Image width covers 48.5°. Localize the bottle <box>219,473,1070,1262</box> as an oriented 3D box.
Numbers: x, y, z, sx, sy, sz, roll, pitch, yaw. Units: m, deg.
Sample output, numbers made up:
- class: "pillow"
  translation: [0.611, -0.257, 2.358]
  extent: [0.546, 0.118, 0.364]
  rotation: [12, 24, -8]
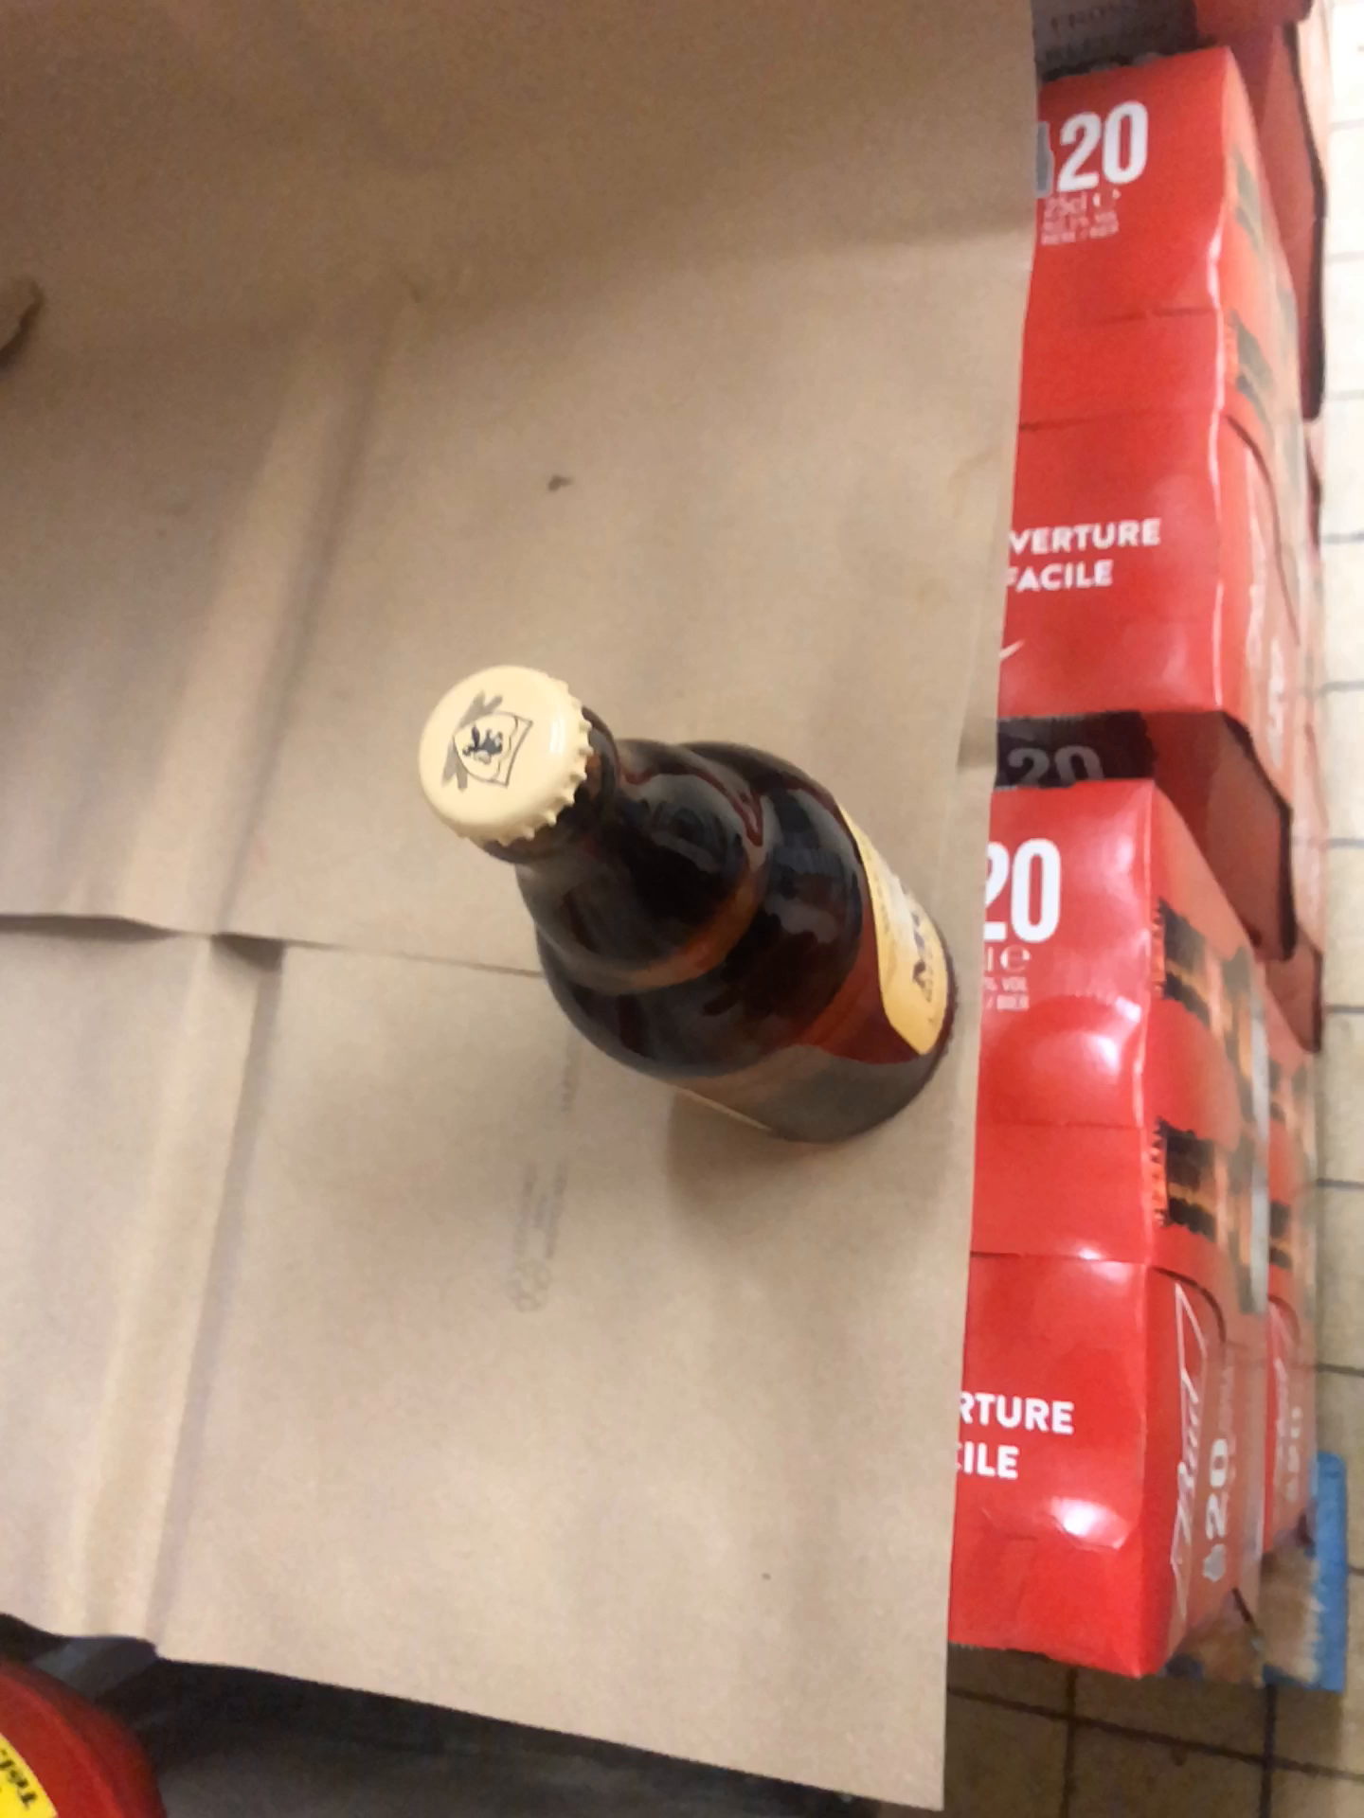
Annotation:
- class: "bottle"
  translation: [0.007, 0.008, 0.297]
  extent: [0.080, 0.166, 0.080]
  rotation: [-6, 73, 21]
